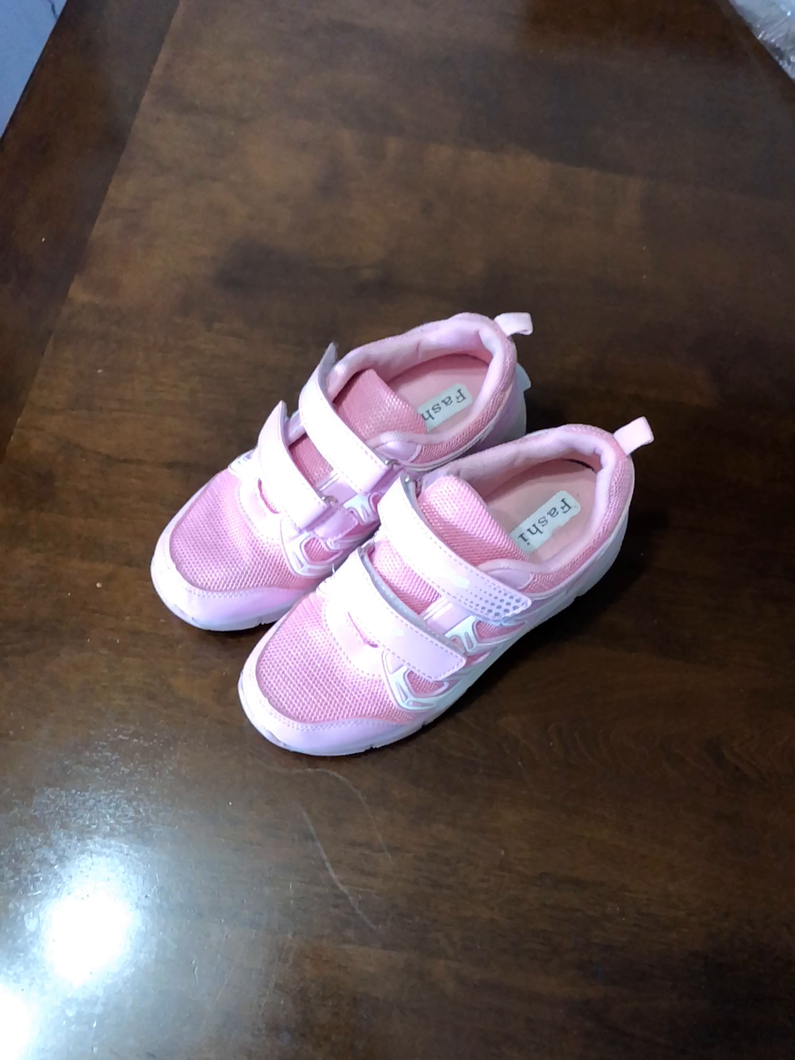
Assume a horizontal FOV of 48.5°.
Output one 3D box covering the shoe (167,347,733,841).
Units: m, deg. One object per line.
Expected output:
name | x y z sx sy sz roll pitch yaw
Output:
shoe | 0.029 0.033 0.472 0.260 0.110 0.110 -33 72 -18

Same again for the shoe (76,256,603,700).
shoe | -0.026 -0.030 0.491 0.250 0.110 0.100 -32 71 -17
